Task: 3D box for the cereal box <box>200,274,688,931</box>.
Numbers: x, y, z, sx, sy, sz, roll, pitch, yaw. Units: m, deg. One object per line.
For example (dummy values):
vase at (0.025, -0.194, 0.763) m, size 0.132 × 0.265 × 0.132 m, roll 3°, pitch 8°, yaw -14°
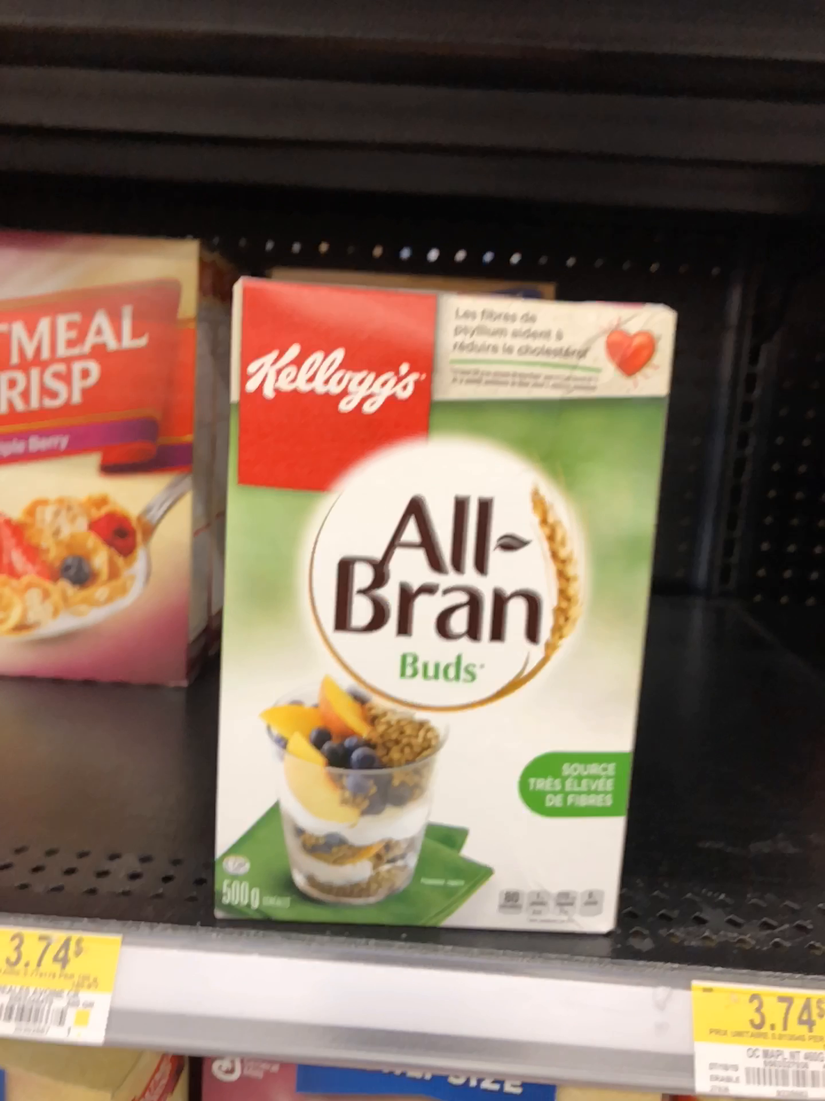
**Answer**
cereal box at (0.005, 0.020, 0.334) m, size 0.150 × 0.219 × 0.050 m, roll 3°, pitch 11°, yaw -2°
